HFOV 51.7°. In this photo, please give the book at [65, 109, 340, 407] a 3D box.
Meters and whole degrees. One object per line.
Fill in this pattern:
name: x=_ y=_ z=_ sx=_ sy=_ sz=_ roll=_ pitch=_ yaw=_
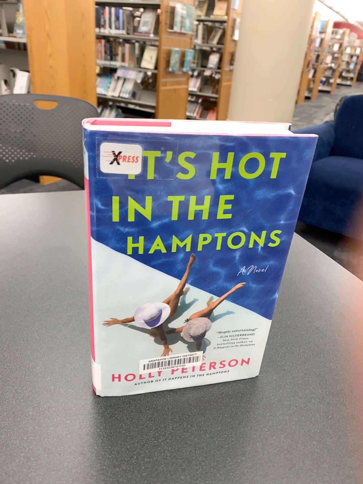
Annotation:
book: x=0.004 y=0.020 z=0.291 sx=0.170 sy=0.219 sz=0.050 roll=-3 pitch=29 yaw=-16
